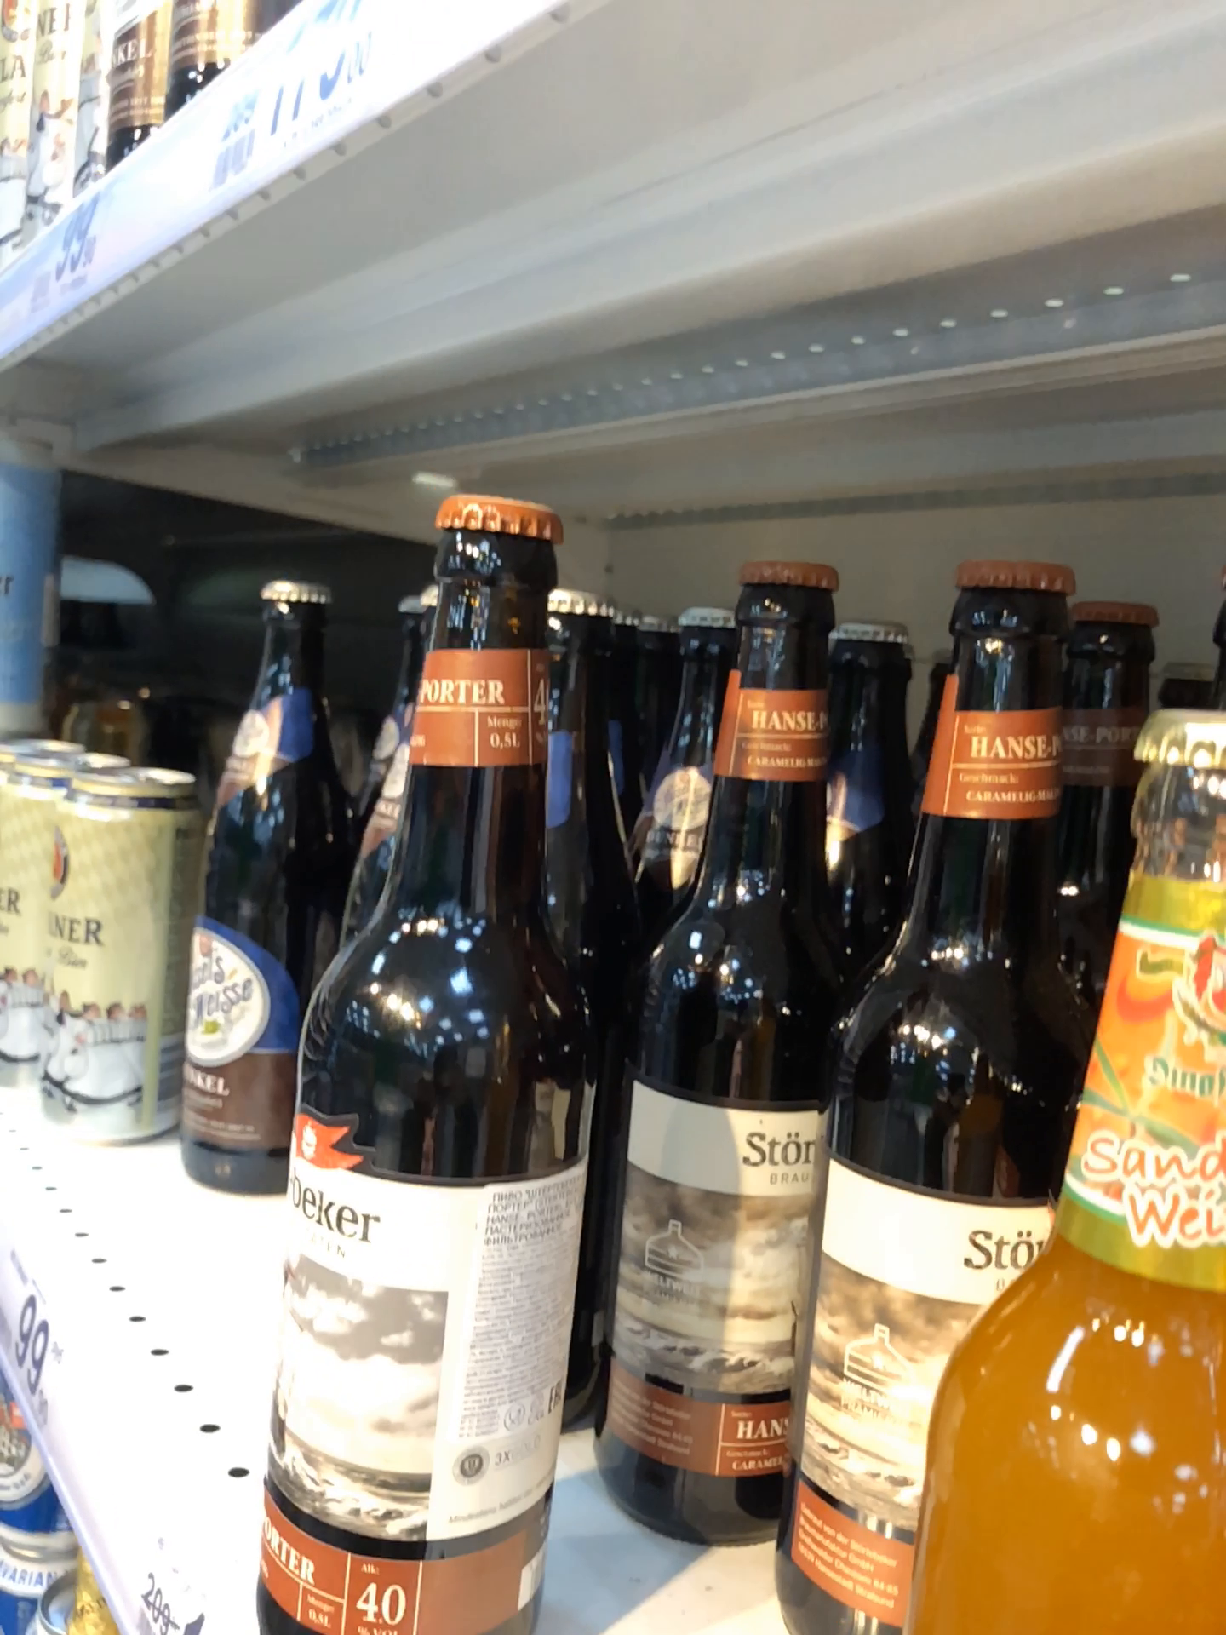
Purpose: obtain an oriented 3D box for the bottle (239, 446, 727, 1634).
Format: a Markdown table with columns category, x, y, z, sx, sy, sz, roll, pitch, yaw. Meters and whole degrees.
| category | x | y | z | sx | sy | sz | roll | pitch | yaw |
| --- | --- | --- | --- | --- | --- | --- | --- | --- | --- |
| bottle | -0.035 | 0.063 | 0.322 | 0.070 | 0.280 | 0.070 | 5 | 6 | -1 |
